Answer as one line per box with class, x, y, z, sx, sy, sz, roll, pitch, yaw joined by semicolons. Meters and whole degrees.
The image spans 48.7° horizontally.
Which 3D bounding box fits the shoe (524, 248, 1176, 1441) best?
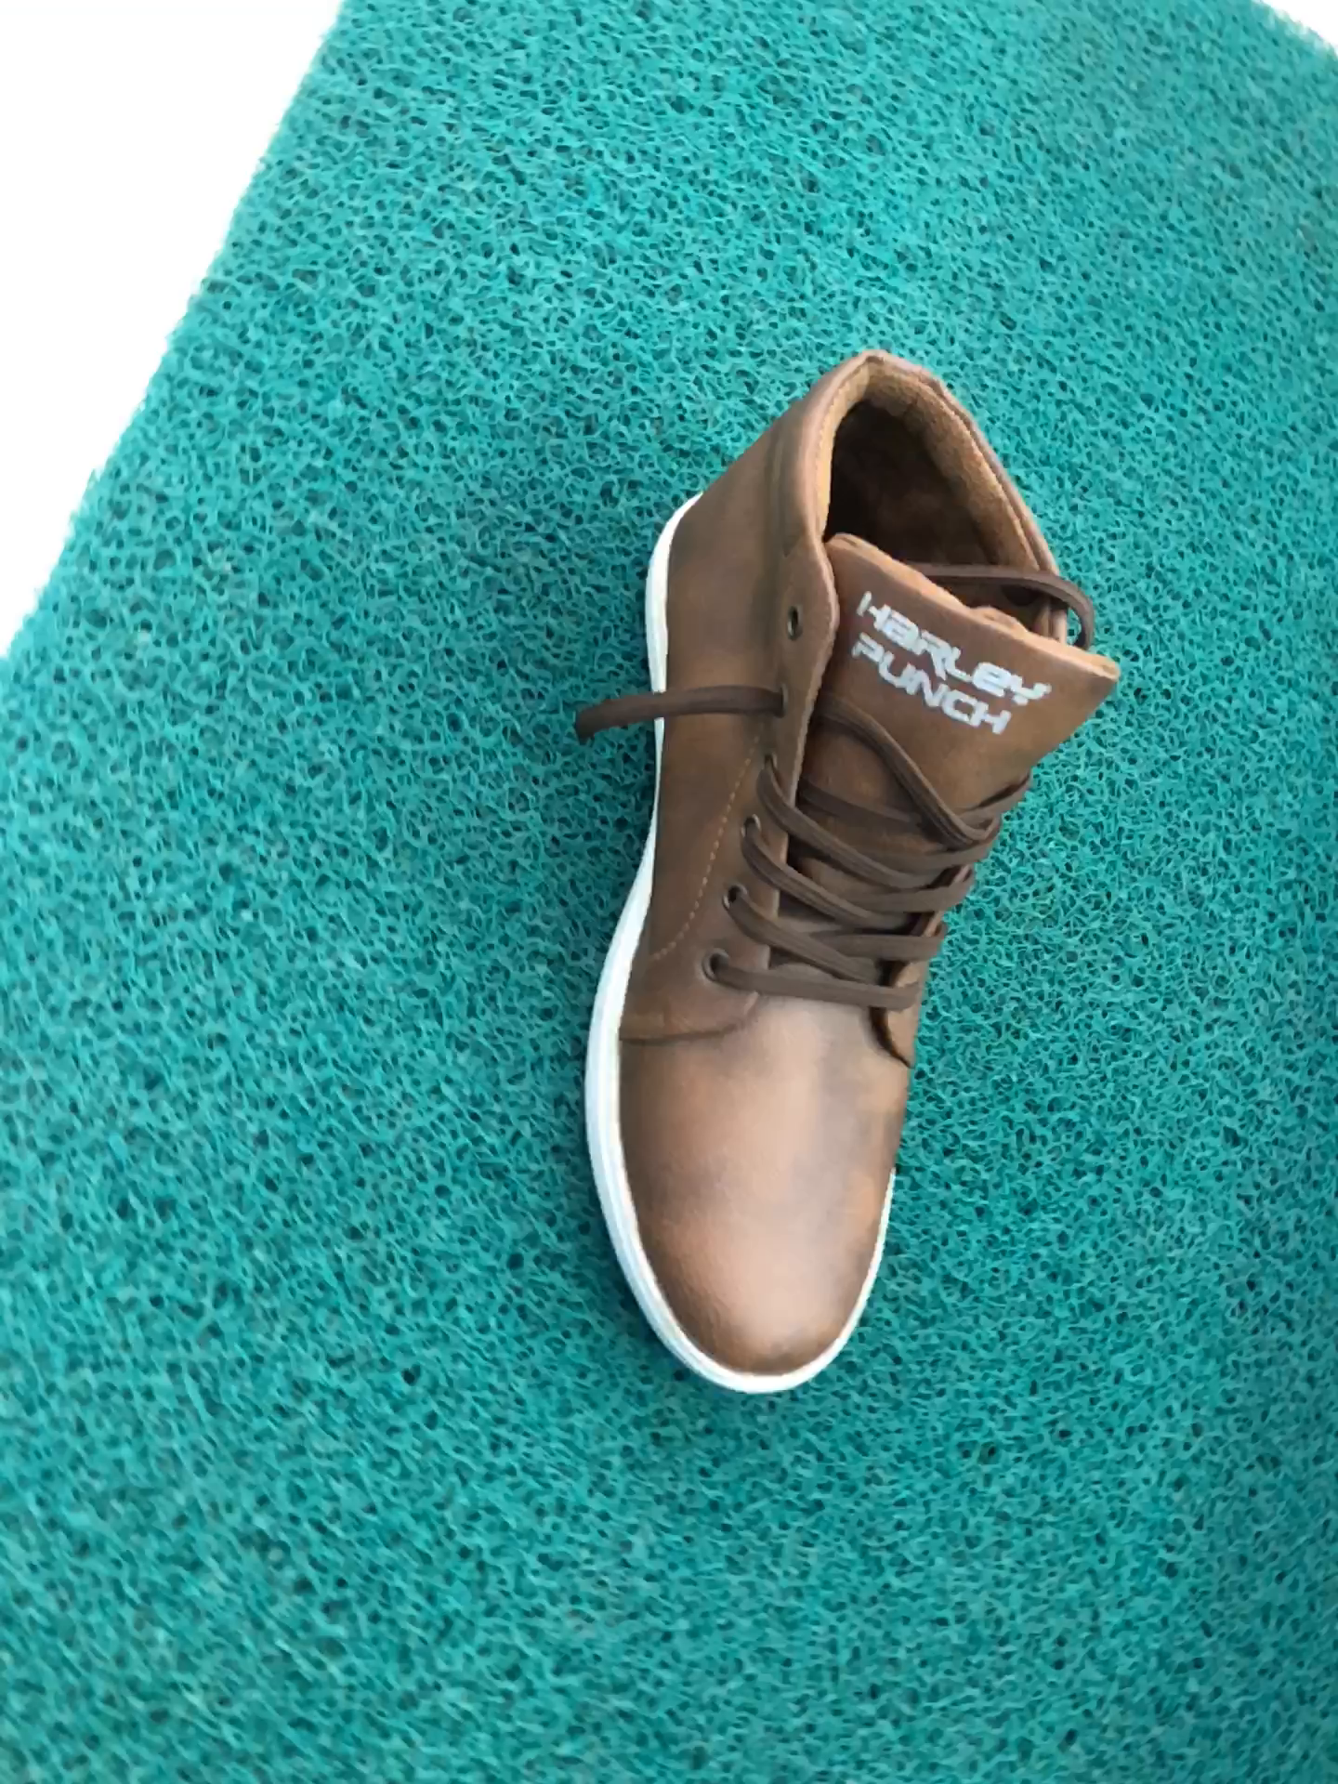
shoe;0.037;0.003;0.422;0.090;0.189;0.270;8;74;-21
